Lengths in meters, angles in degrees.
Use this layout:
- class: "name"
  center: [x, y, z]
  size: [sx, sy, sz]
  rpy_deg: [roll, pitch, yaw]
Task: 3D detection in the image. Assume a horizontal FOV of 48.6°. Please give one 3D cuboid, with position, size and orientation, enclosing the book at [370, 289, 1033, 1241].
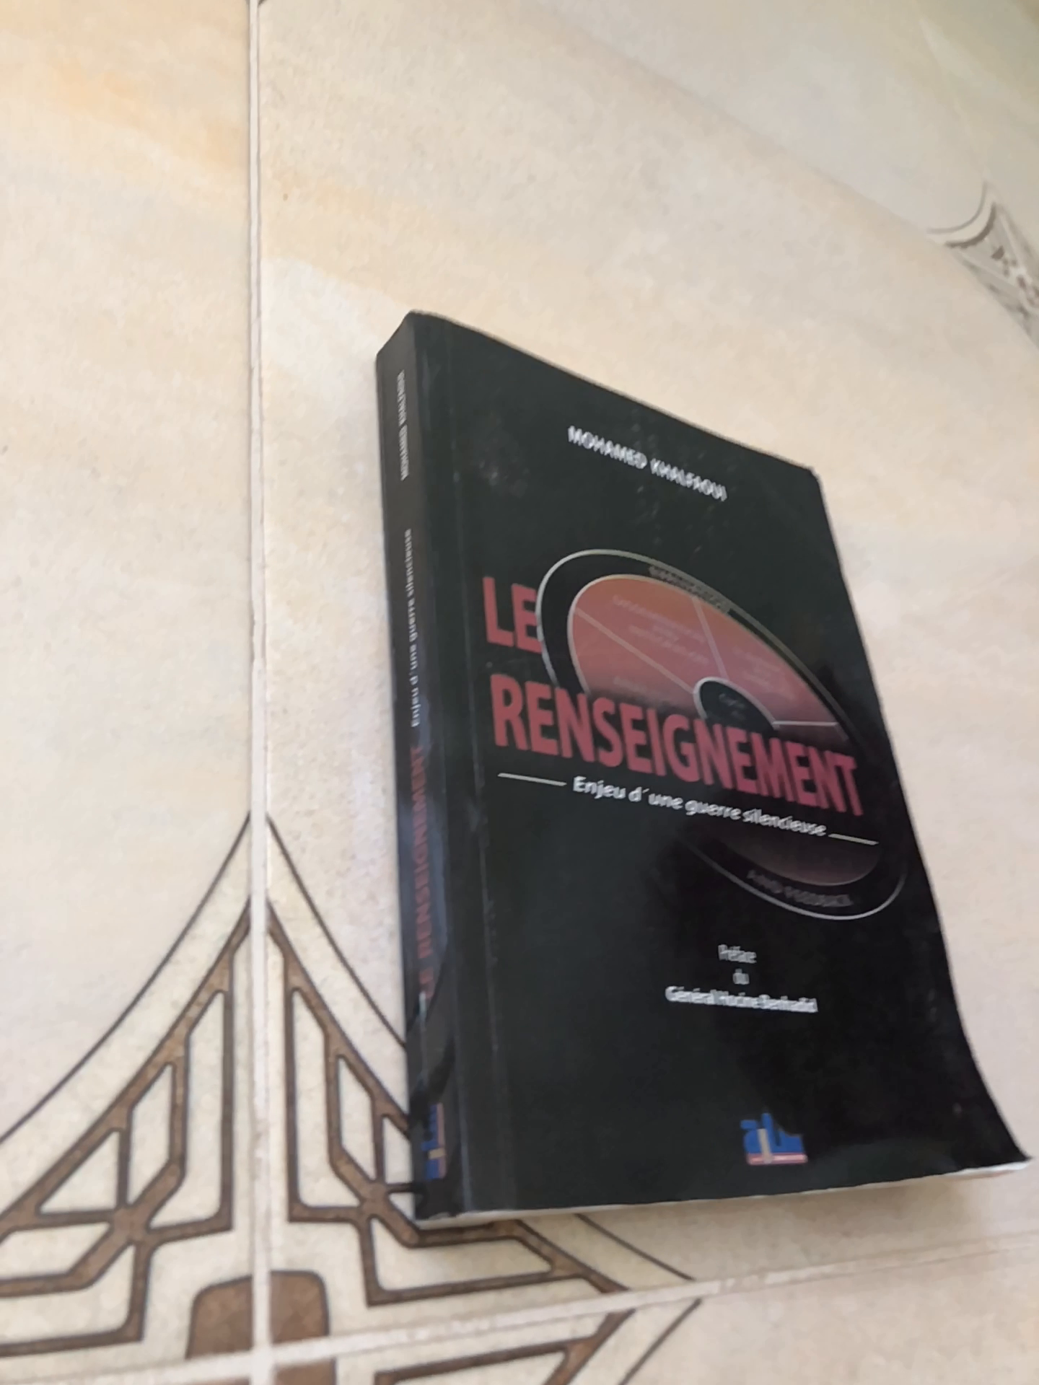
- class: "book"
  center: [0.040, 0.016, 0.280]
  size: [0.146, 0.037, 0.201]
  rpy_deg: [13, 59, -34]
